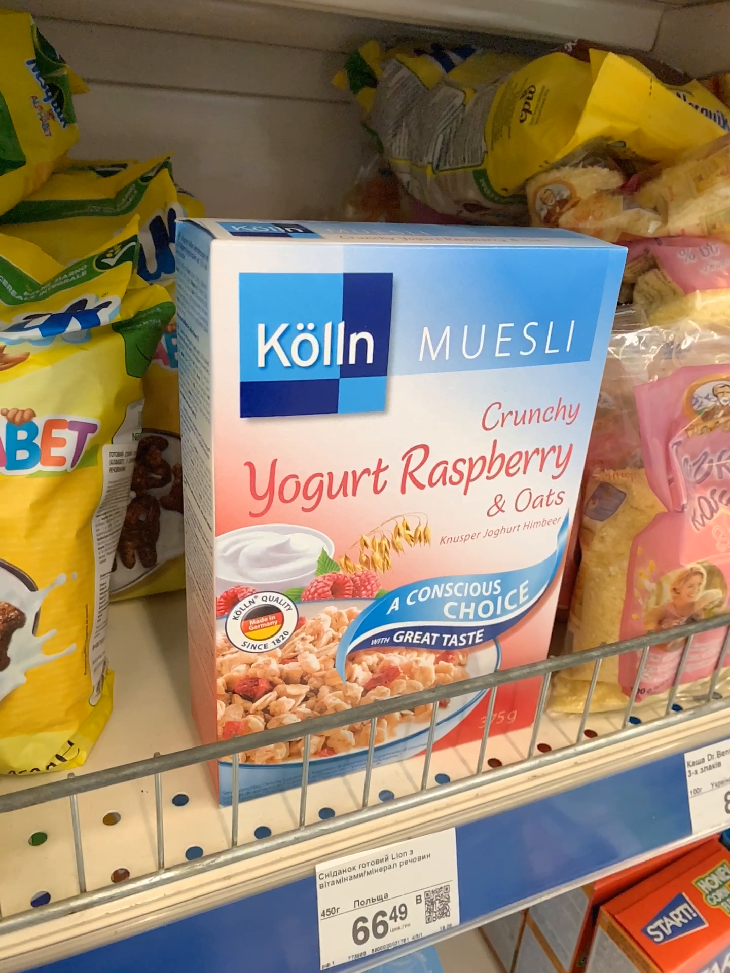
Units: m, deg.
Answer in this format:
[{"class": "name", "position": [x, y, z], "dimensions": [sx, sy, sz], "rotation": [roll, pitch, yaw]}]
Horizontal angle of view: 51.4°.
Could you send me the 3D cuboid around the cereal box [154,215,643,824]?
[{"class": "cereal box", "position": [0.005, 0.011, 0.293], "dimensions": [0.150, 0.208, 0.060], "rotation": [-6, 26, -21]}]
